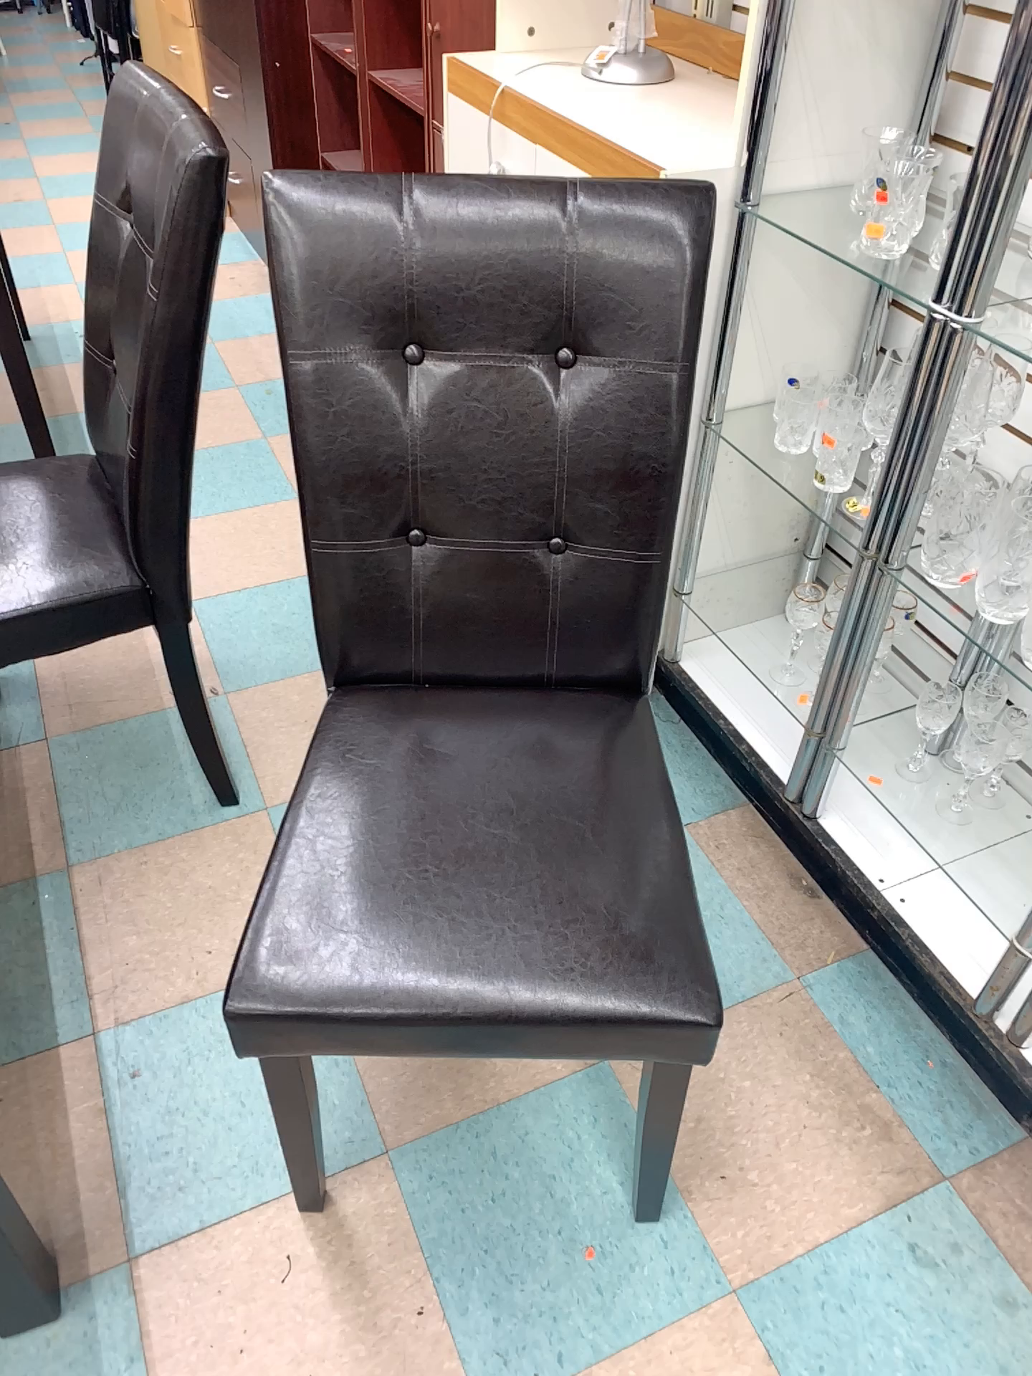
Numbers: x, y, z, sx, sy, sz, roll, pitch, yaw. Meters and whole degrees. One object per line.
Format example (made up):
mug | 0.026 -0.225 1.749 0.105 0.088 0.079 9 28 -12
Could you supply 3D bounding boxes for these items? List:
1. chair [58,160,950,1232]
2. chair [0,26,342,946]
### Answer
chair | -0.009 0.059 1.079 0.470 0.955 0.573 2 41 0
chair | -0.713 -0.295 1.471 0.651 0.955 0.673 -18 45 -21
